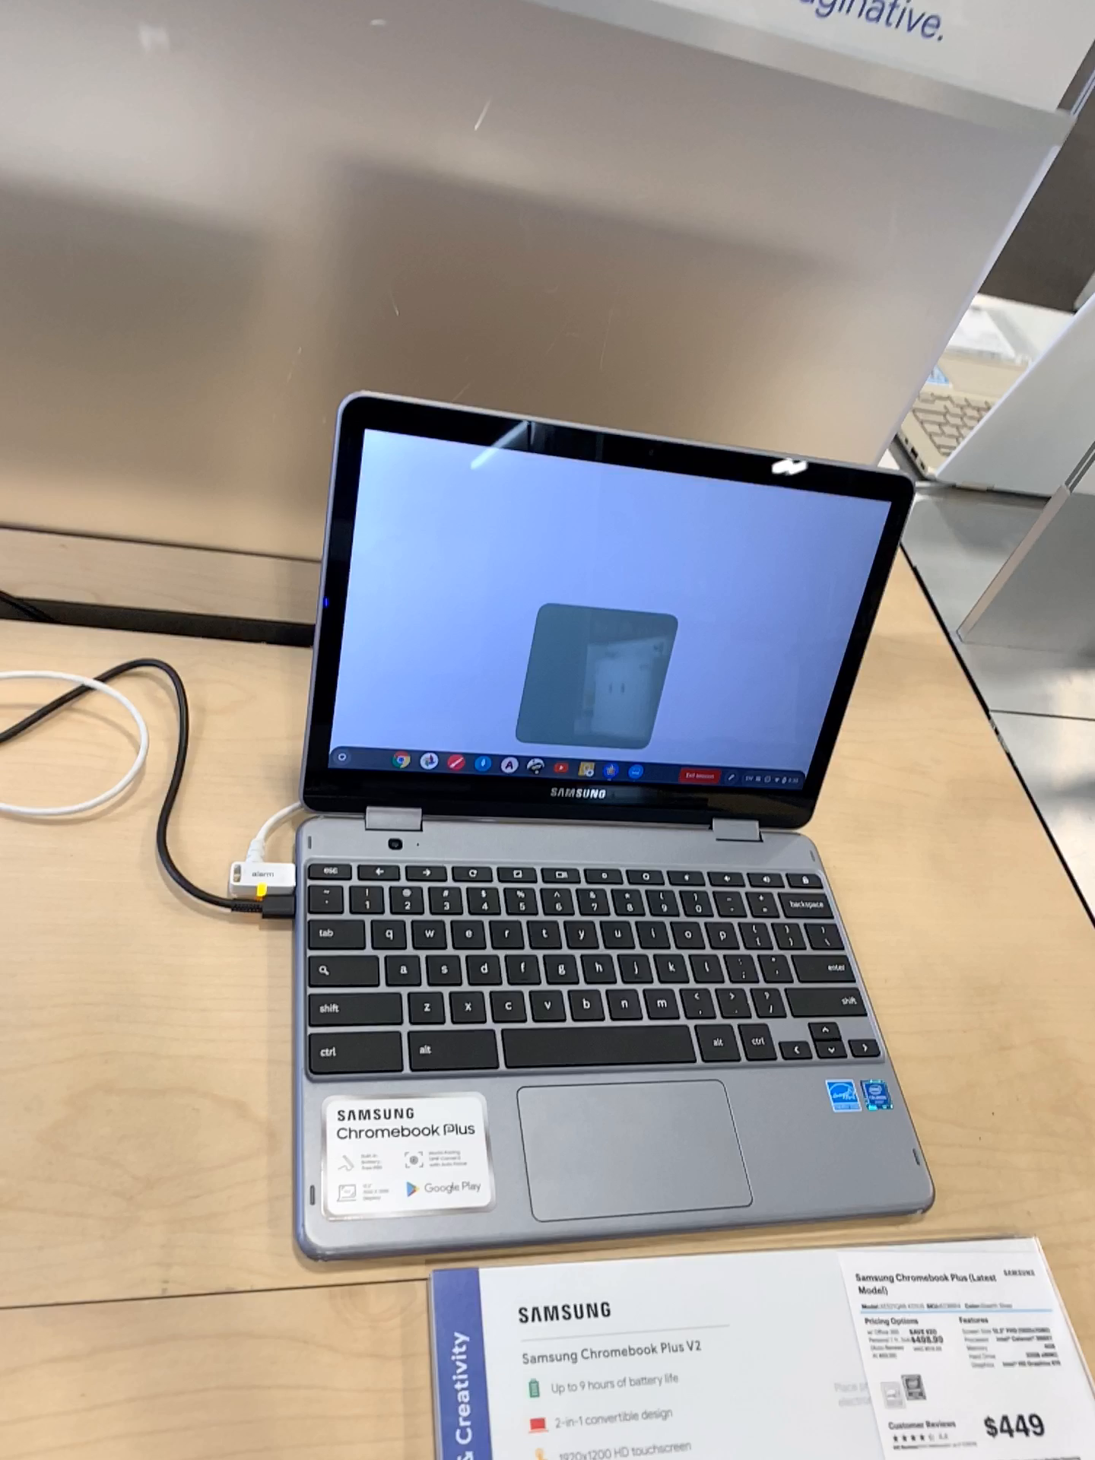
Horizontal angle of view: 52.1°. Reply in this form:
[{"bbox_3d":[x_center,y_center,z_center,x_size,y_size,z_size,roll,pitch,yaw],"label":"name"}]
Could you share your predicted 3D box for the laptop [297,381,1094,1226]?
[{"bbox_3d":[0.043,0.029,0.486,0.274,0.183,0.275,3,49,-18],"label":"laptop"}]
